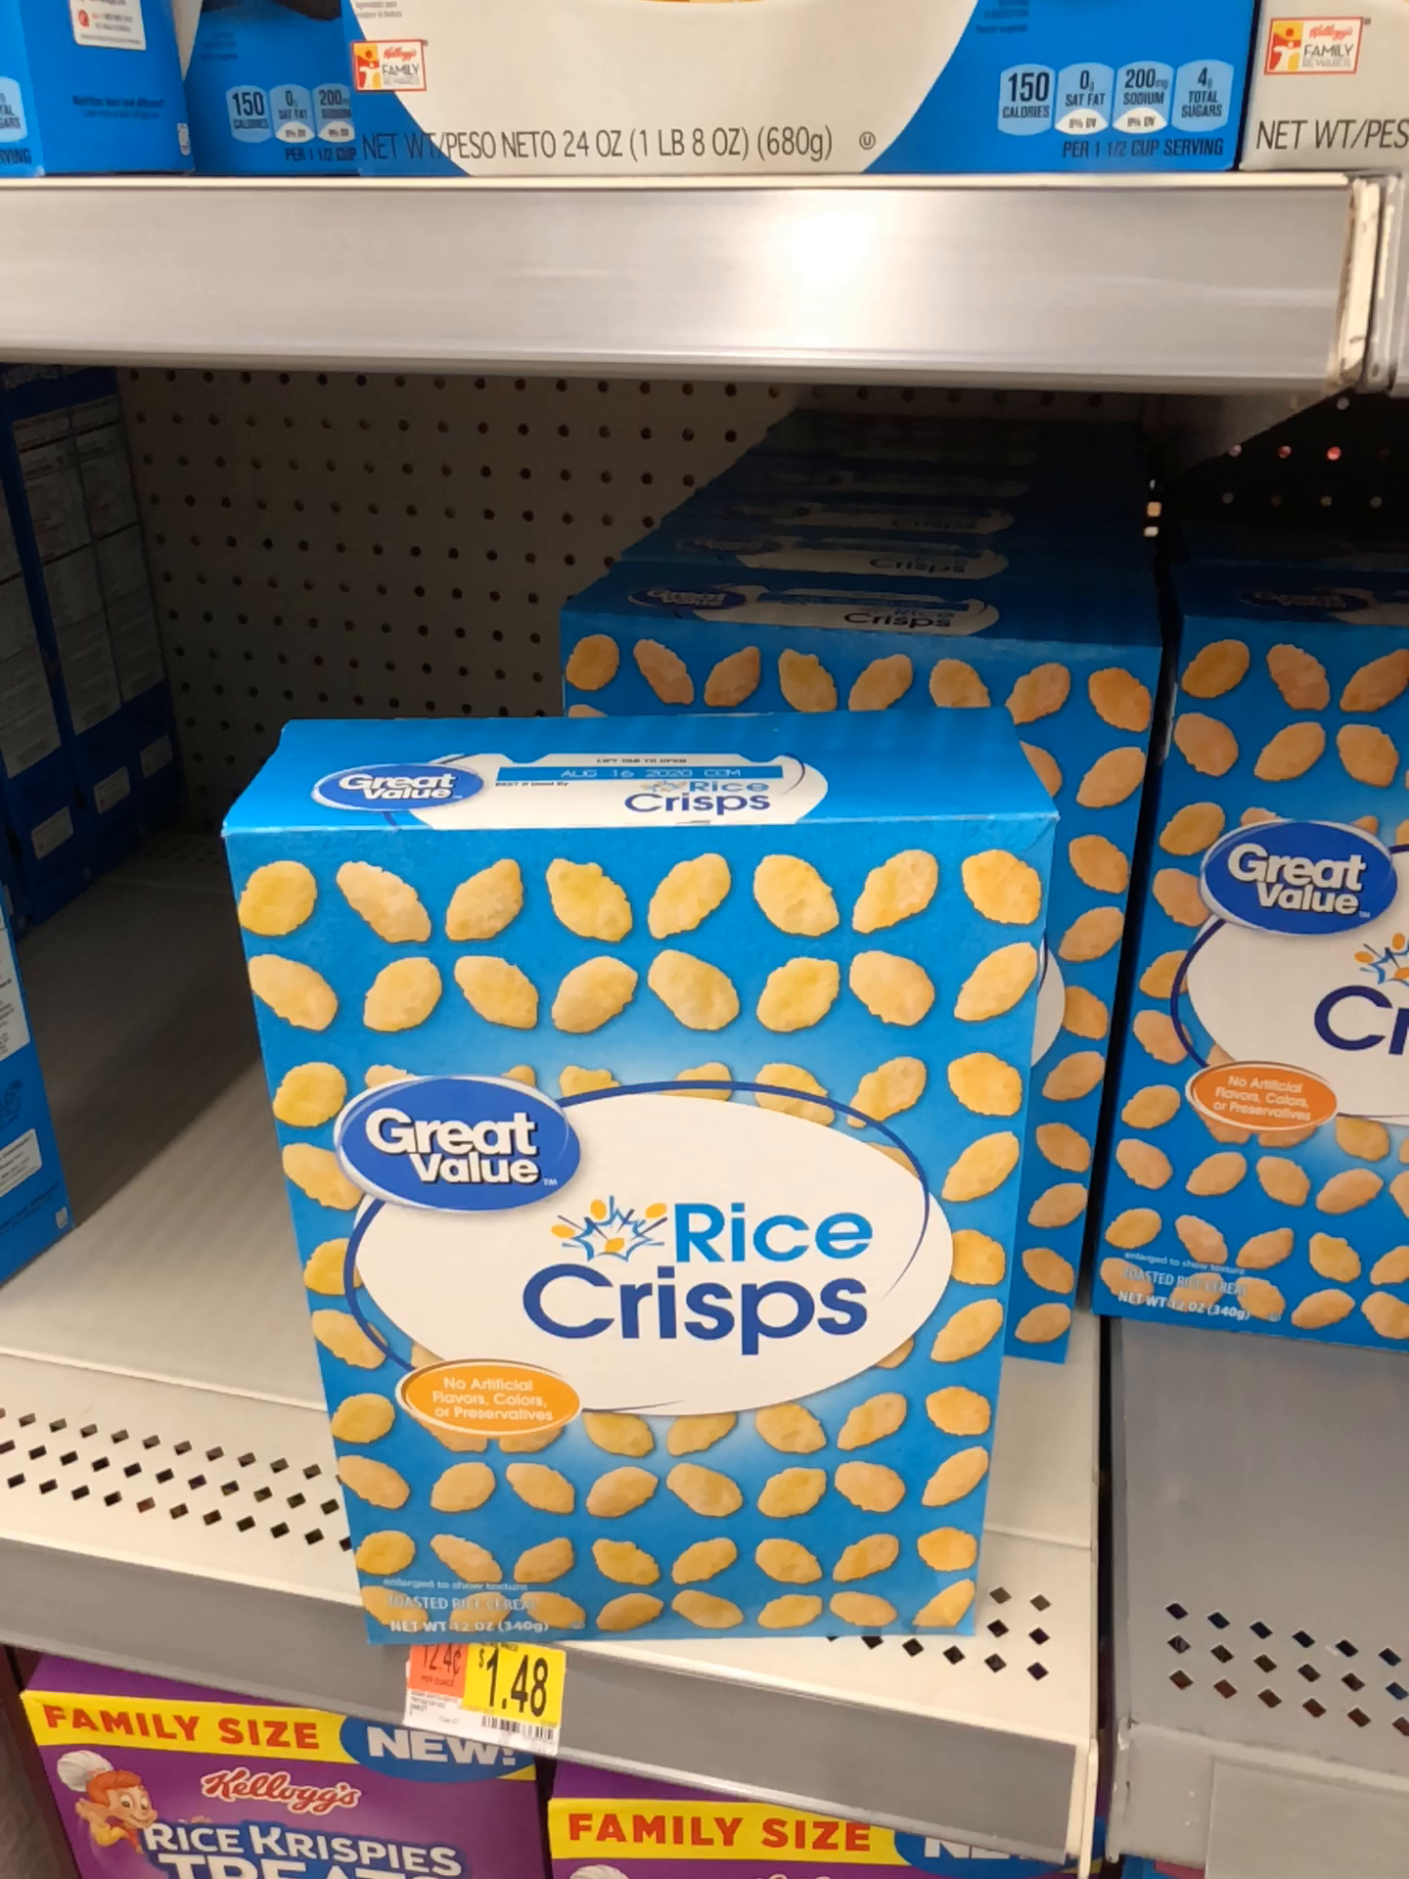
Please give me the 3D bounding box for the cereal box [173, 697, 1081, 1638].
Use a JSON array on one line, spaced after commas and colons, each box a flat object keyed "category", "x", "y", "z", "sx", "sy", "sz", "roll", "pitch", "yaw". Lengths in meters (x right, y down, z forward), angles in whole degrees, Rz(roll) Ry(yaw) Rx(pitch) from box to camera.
[{"category": "cereal box", "x": -0.014, "y": 0.075, "z": 0.438, "sx": 0.200, "sy": 0.269, "sz": 0.070, "roll": -1, "pitch": 29, "yaw": 0}]
